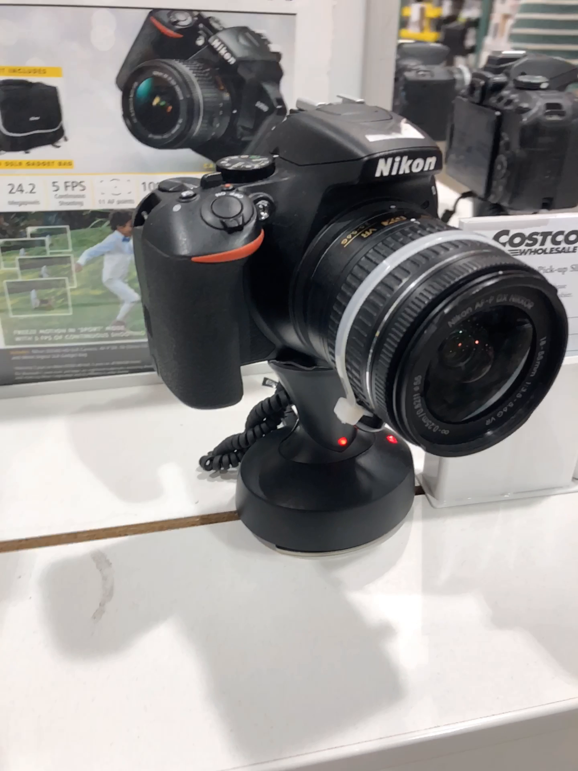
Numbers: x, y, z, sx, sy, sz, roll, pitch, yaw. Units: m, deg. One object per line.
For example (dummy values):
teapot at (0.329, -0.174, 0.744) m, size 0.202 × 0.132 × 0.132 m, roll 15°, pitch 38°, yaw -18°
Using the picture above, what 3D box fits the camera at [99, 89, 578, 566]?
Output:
camera at (0.026, -0.038, 0.222) m, size 0.140 × 0.100 × 0.120 m, roll -15°, pitch 34°, yaw -23°
